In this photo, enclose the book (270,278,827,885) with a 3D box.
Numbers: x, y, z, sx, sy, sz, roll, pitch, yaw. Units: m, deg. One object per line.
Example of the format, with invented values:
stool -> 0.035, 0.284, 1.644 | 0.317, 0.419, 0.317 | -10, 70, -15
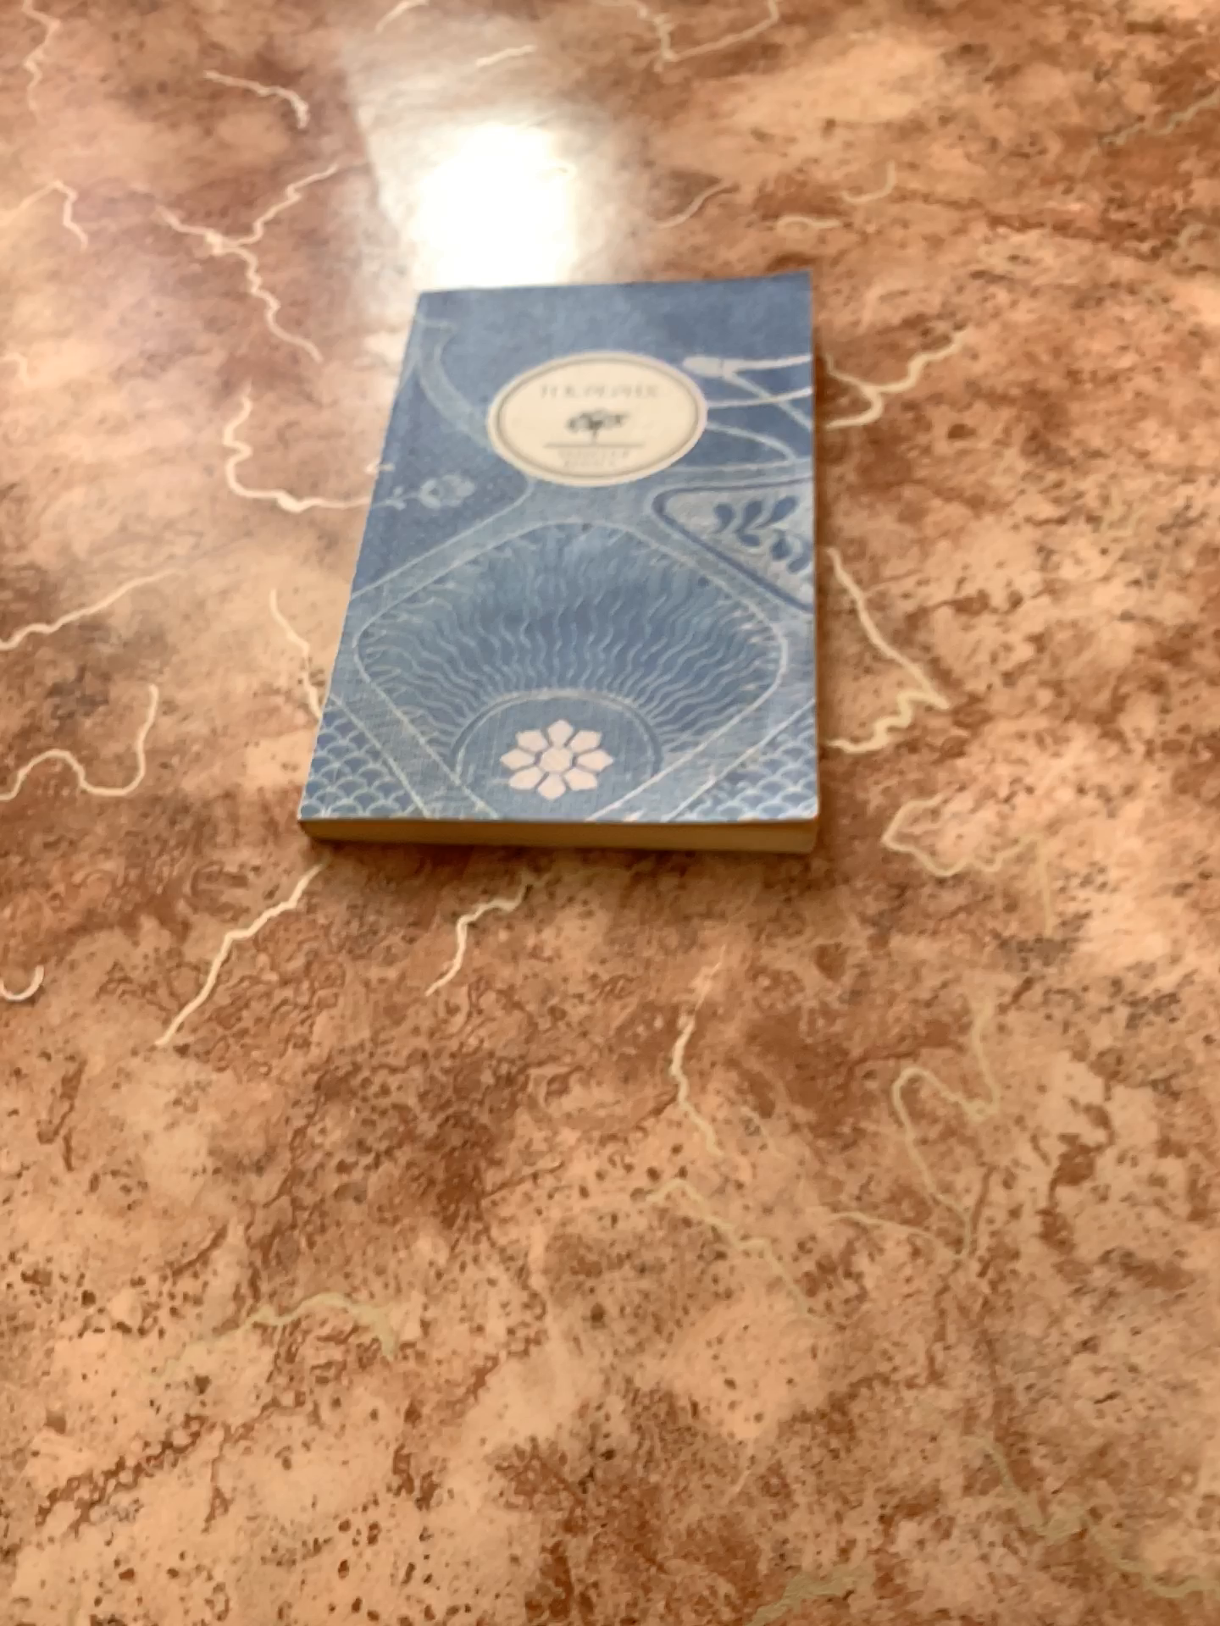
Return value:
book -> -0.008, -0.075, 0.346 | 0.125, 0.015, 0.204 | 1, 58, 4
